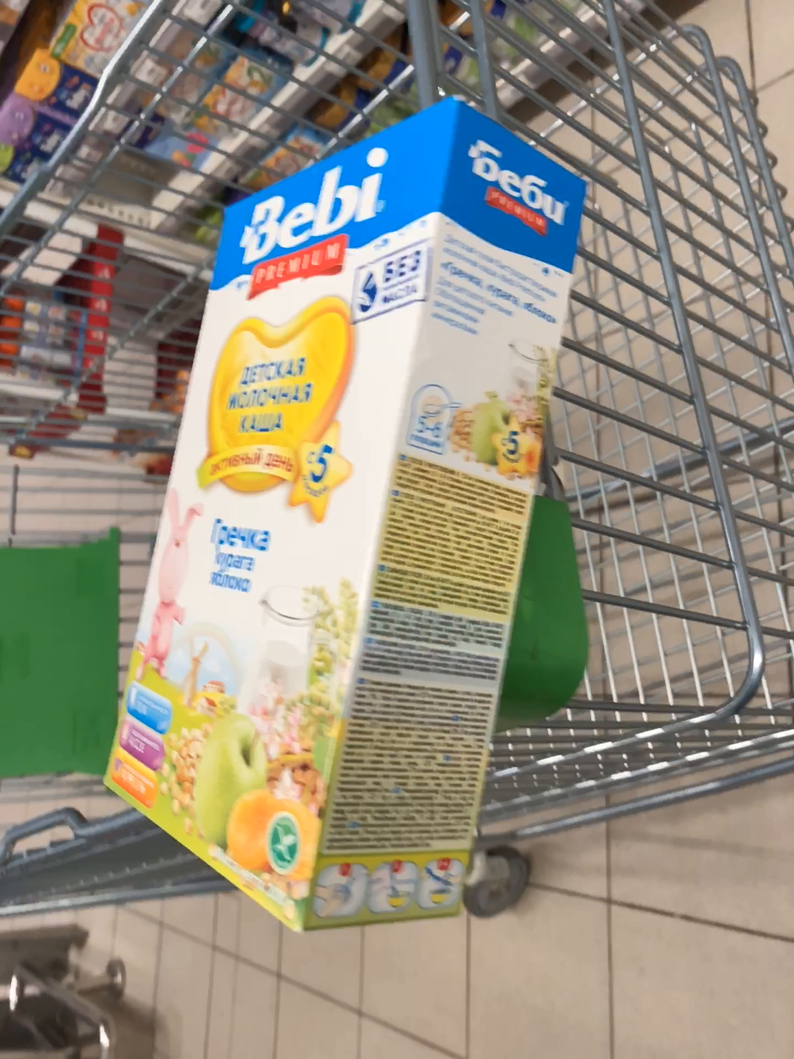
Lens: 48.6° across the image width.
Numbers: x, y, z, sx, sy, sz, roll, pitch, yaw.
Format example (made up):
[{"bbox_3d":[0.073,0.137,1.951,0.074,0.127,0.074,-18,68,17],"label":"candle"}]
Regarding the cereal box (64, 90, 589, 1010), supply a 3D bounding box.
[{"bbox_3d":[-0.031,0.001,0.267,0.141,0.050,0.210,6,83,52],"label":"cereal box"}]
